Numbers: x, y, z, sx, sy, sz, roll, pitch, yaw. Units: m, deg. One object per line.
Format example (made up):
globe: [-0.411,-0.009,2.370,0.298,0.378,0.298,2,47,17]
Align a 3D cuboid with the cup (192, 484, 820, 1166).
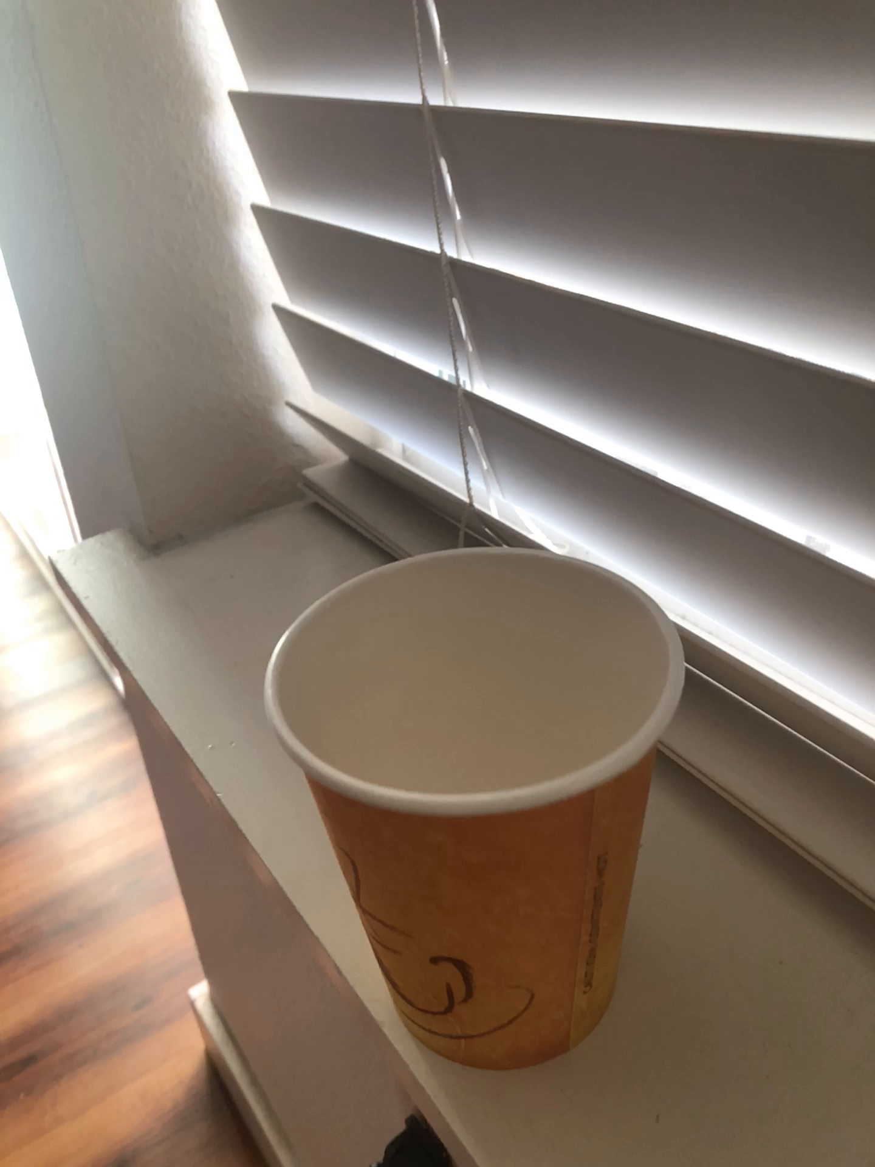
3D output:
cup: [0.012,0.047,0.226,0.093,0.088,0.096,-4,32,3]
